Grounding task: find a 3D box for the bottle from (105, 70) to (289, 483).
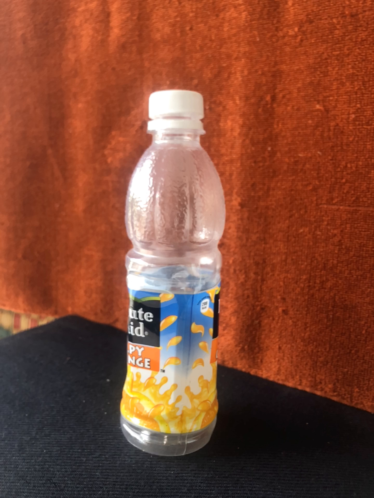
[{"bbox_3d":[0.001,0.012,0.245,0.070,0.199,0.070,2,11,0],"label":"bottle"}]
